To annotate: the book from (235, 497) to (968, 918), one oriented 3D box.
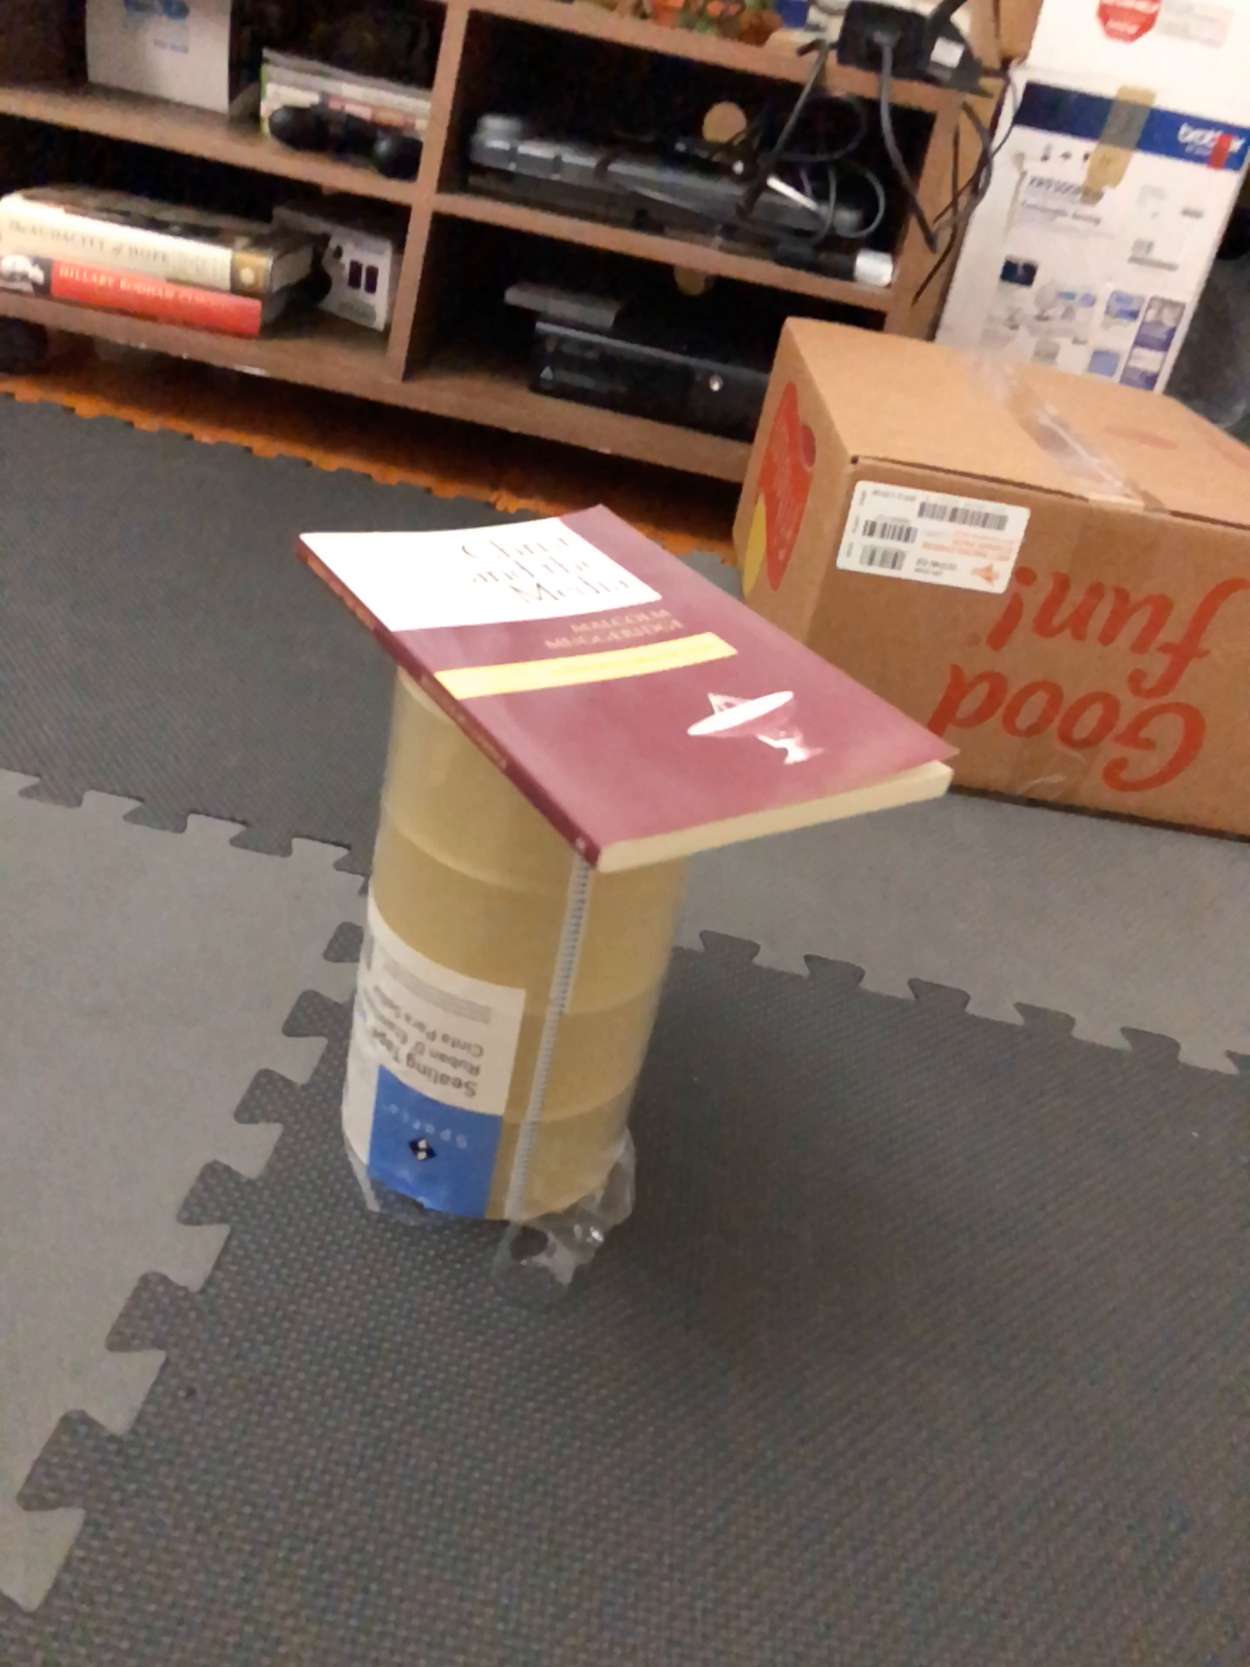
[{"bbox_3d":[-0.016,-0.056,0.434,0.140,0.020,0.211,-12,39,-35],"label":"book"}]
